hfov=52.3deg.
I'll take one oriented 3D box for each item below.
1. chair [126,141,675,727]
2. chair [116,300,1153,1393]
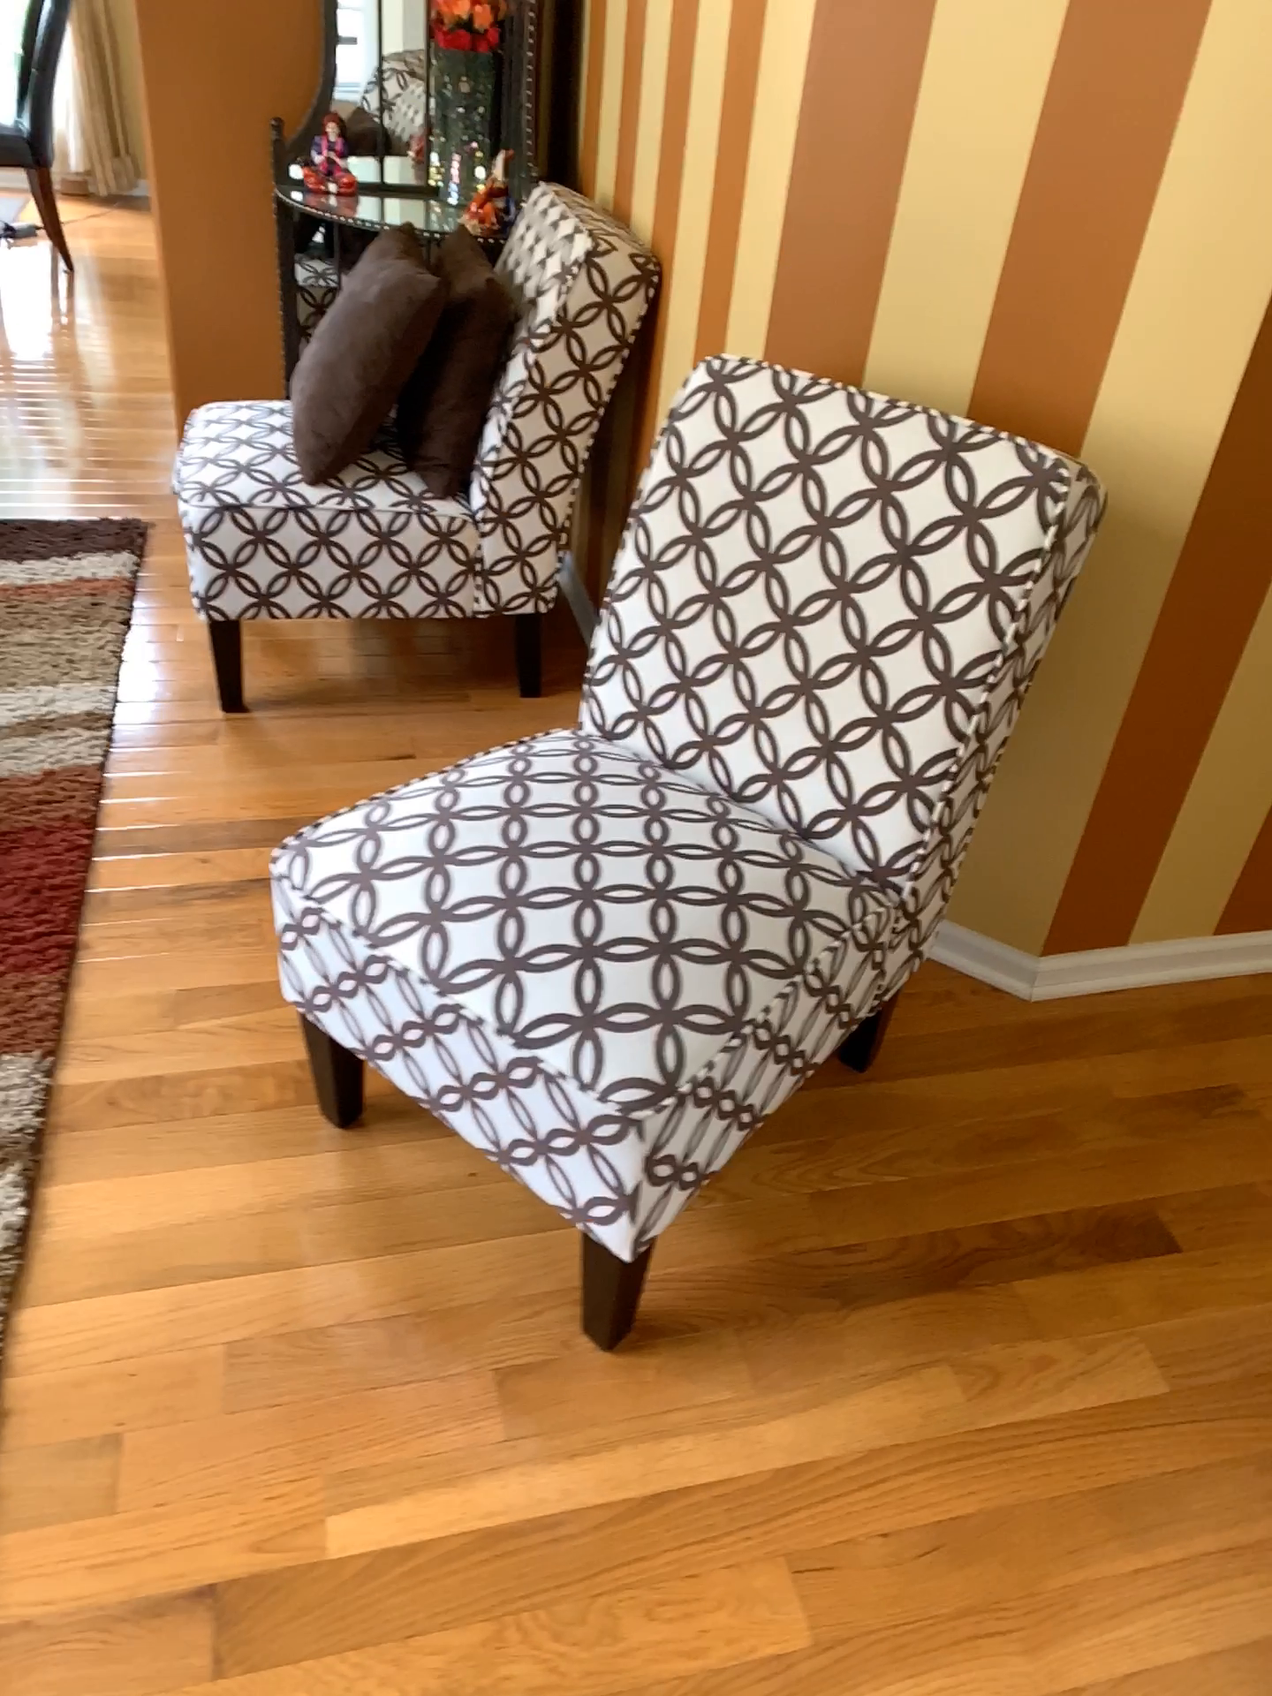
[{"bbox_3d":[-0.433,-0.749,2.364,0.796,0.834,0.596,-4,35,-15],"label":"chair"},{"bbox_3d":[-0.002,-0.084,1.399,0.623,0.774,0.740,29,40,32],"label":"chair"}]
